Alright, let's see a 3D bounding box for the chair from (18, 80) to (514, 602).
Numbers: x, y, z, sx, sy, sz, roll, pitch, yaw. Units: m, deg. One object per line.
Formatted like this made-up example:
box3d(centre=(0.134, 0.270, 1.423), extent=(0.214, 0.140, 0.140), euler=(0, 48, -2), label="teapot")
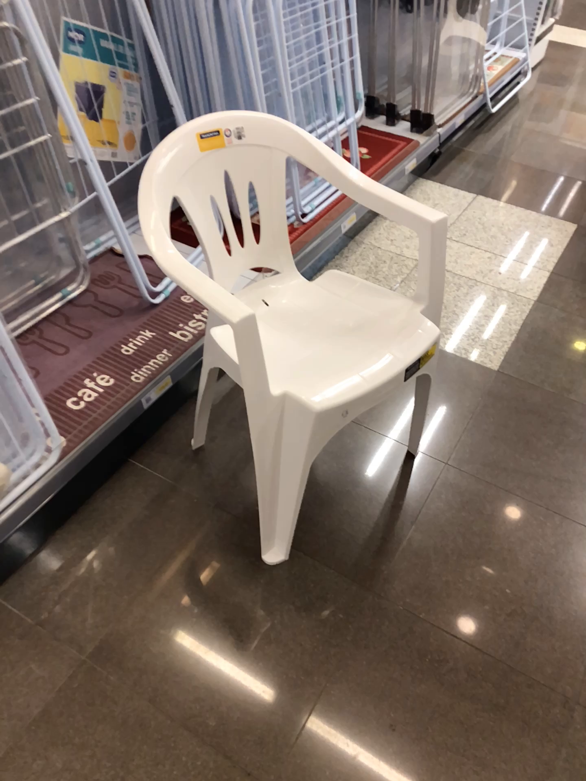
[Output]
box3d(centre=(-0.052, -0.129, 1.340), extent=(0.602, 0.705, 0.603), euler=(34, 52, 28), label="chair")
